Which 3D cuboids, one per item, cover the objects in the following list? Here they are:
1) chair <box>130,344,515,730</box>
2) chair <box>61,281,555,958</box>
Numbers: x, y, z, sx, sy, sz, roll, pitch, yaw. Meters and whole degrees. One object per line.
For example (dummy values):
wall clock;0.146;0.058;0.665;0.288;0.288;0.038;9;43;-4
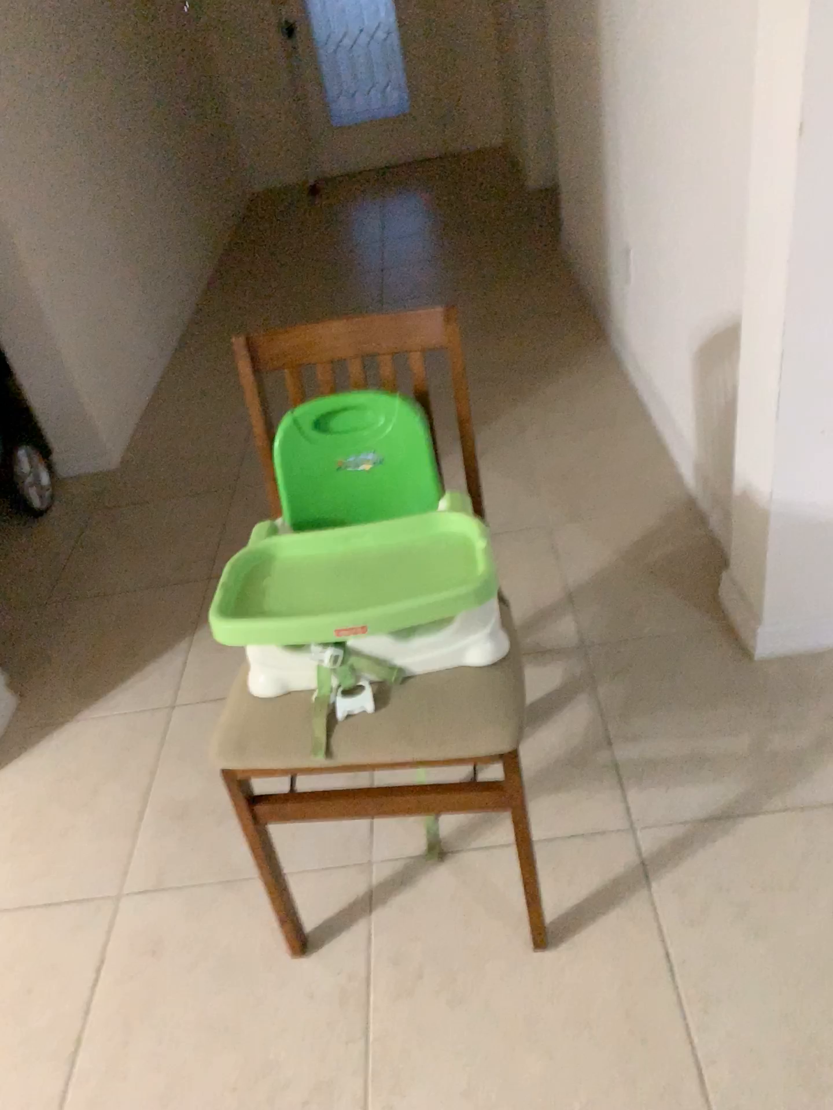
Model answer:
chair;-0.095;-0.034;1.192;0.404;0.328;0.387;-7;36;6
chair;-0.060;0.129;1.344;0.454;0.883;0.559;-5;36;9
